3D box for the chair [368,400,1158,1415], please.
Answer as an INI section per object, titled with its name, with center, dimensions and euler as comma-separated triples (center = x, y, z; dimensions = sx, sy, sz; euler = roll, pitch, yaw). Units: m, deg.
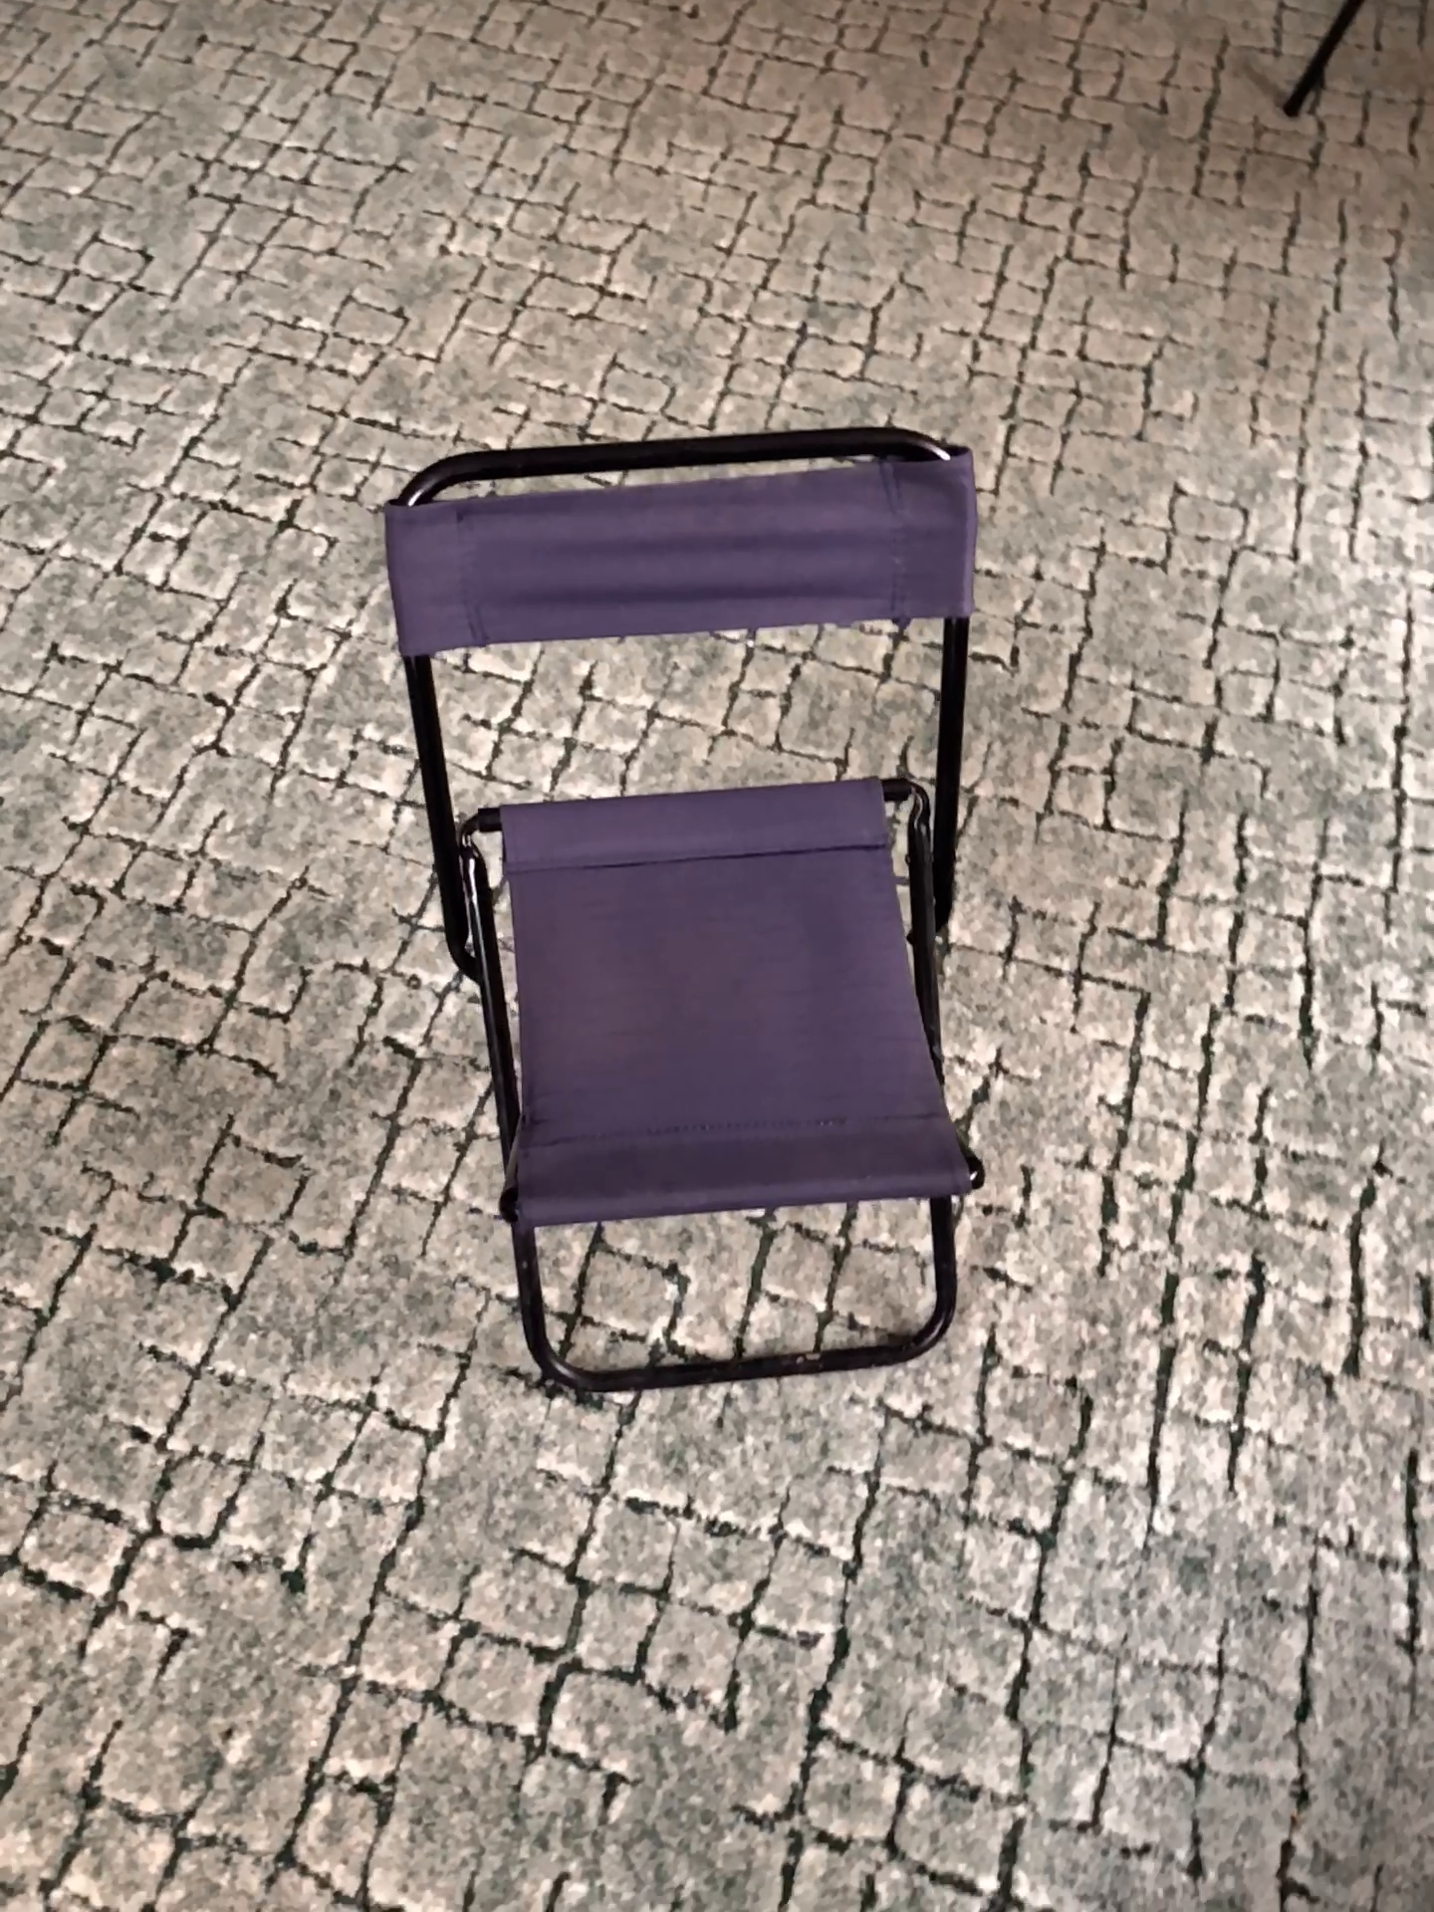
[chair]
center = -0.005, 0.007, 1.006
dimensions = 0.341, 0.537, 0.400
euler = -5, 60, -4
